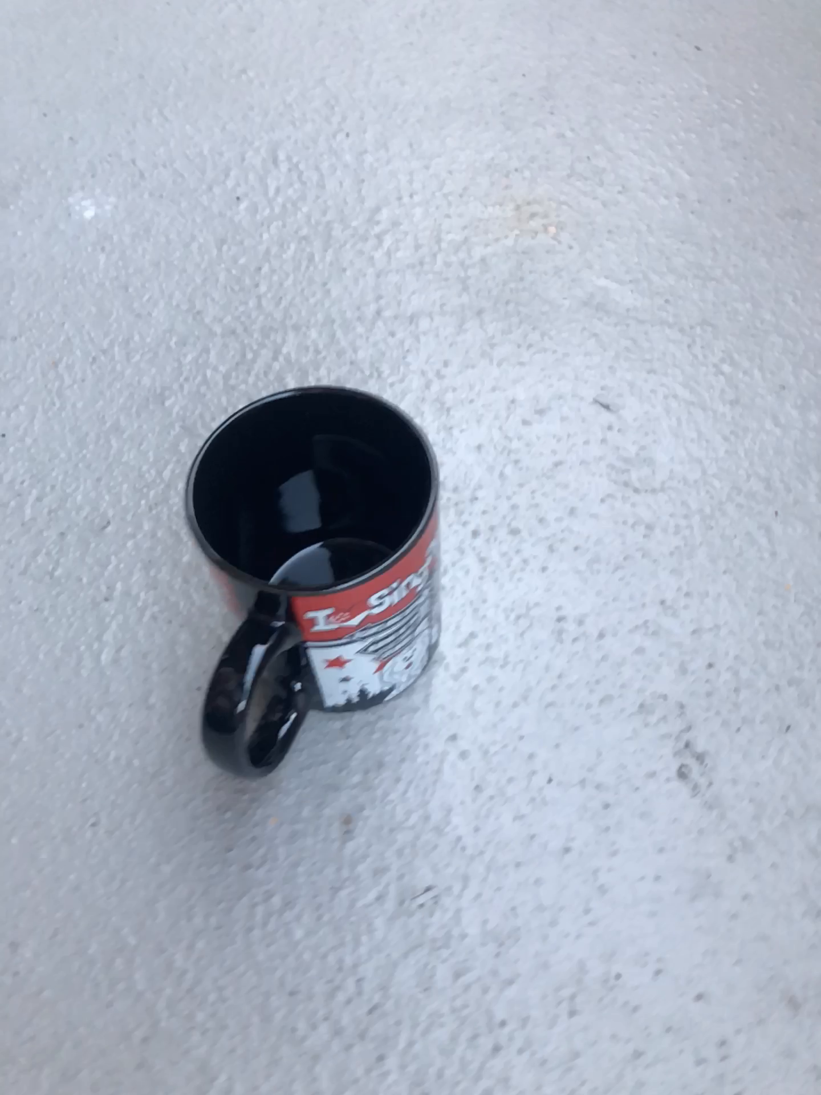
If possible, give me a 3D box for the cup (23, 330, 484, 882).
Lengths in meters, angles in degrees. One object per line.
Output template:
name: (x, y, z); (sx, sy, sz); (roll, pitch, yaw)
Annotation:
cup: (-0.037, 0.021, 0.306); (0.080, 0.110, 0.130); (18, 60, 15)
